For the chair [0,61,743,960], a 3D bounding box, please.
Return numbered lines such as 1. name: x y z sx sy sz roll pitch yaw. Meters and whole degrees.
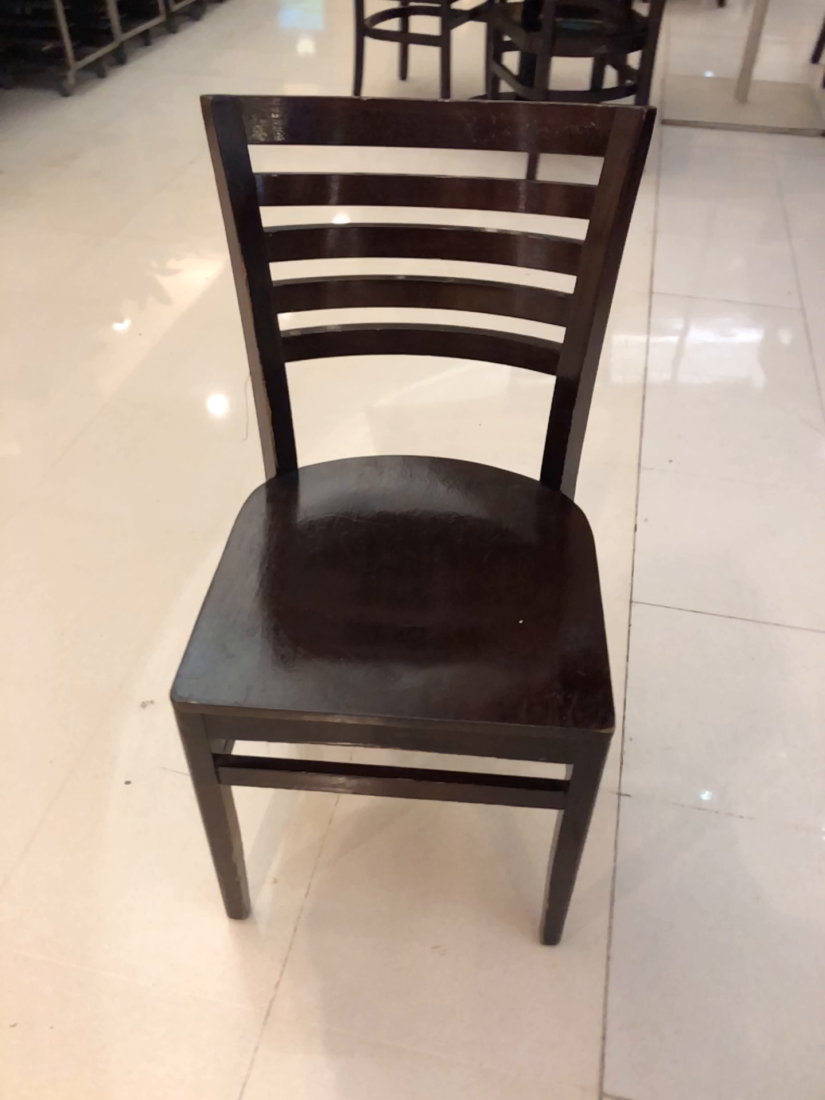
1. chair: -0.005 -0.013 1.034 0.460 0.844 0.544 4 42 4
